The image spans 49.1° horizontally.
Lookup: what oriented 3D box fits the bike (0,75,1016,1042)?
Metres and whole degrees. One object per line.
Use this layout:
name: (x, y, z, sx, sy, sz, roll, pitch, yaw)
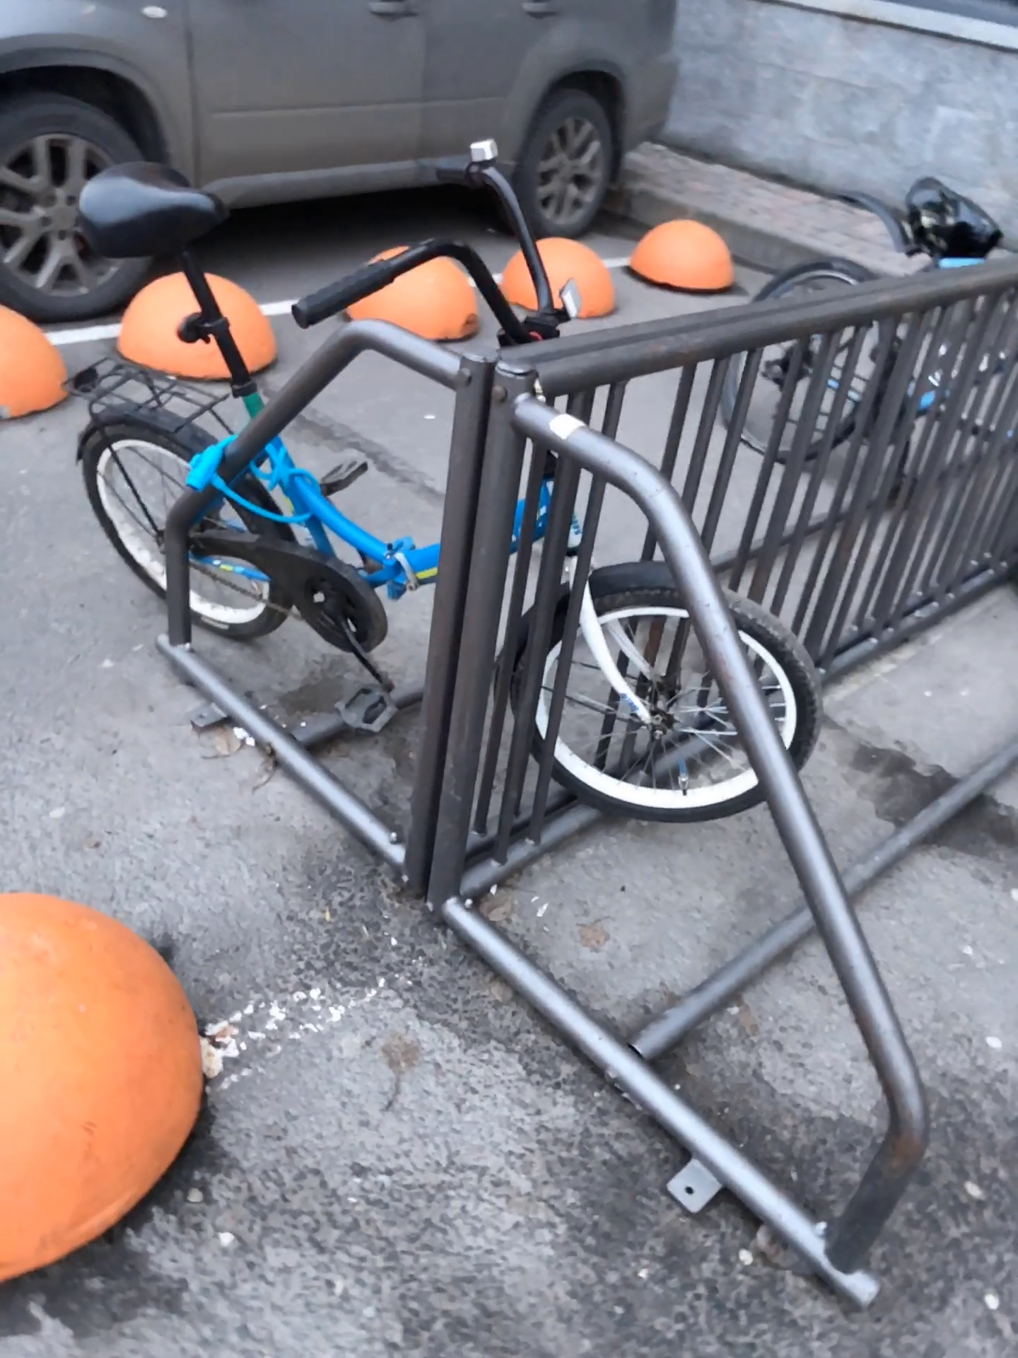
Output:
bike: (-0.239, -0.308, 1.645, 1.421, 0.992, 0.726, 18, 35, 23)
